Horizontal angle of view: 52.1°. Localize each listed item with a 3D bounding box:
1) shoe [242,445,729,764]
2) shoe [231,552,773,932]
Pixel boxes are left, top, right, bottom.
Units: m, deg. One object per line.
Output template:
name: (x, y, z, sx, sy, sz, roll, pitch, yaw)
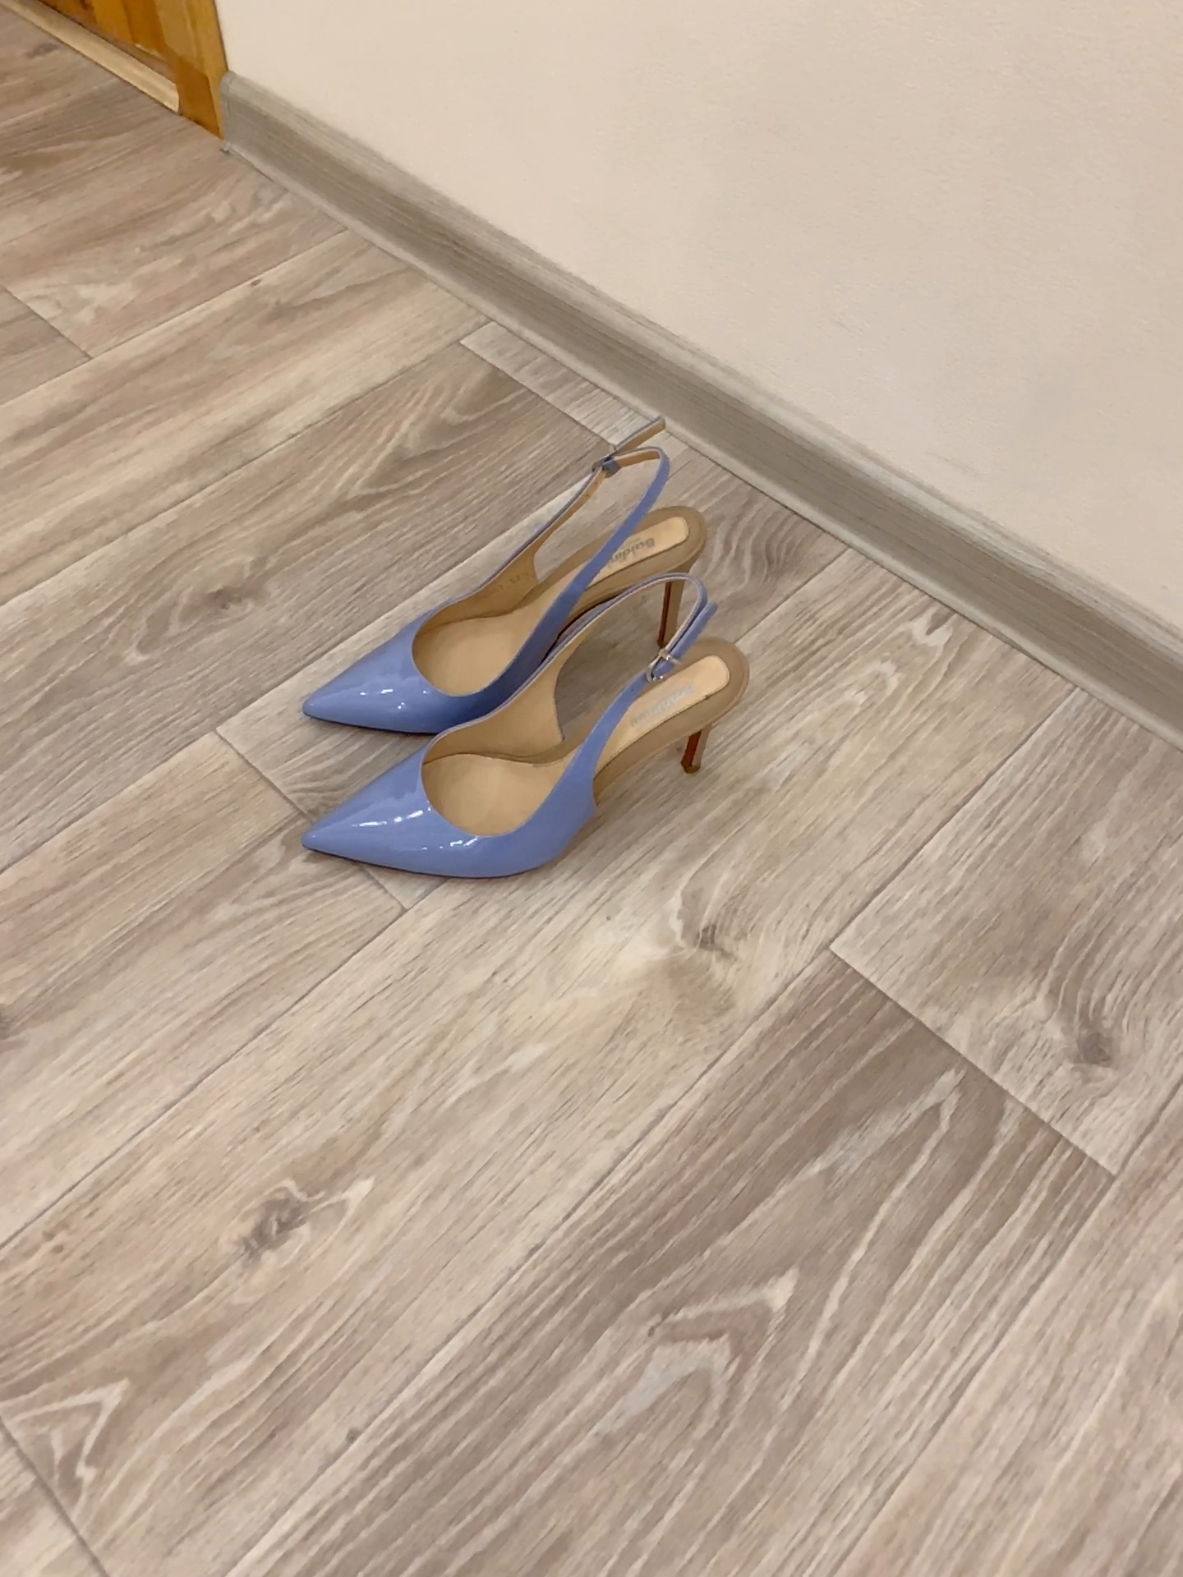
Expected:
shoe: (-0.056, -0.099, 0.647, 0.230, 0.100, 0.090, -11, 56, -9)
shoe: (-0.042, -0.024, 0.591, 0.230, 0.100, 0.090, -15, 57, -12)
